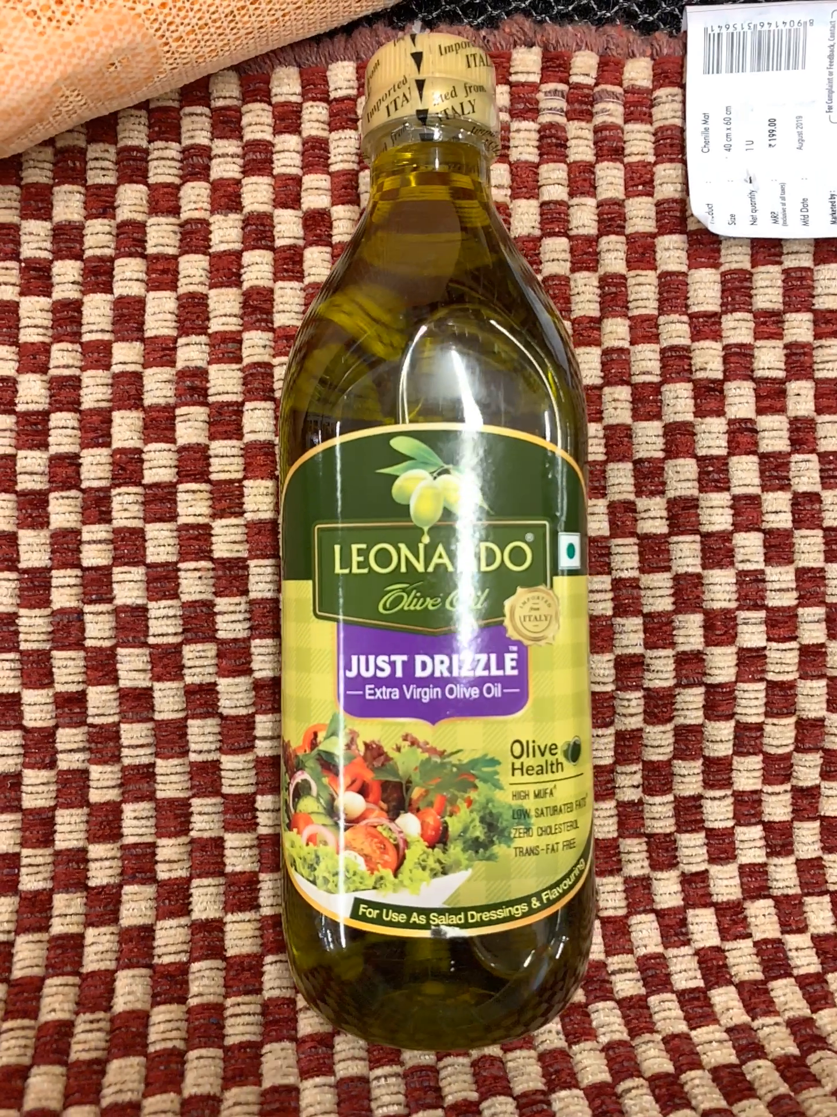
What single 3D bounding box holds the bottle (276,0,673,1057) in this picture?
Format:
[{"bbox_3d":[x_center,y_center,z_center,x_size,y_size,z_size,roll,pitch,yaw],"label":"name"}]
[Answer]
[{"bbox_3d":[0.008,-0.023,0.211,0.080,0.070,0.240,1,89,-11],"label":"bottle"}]
